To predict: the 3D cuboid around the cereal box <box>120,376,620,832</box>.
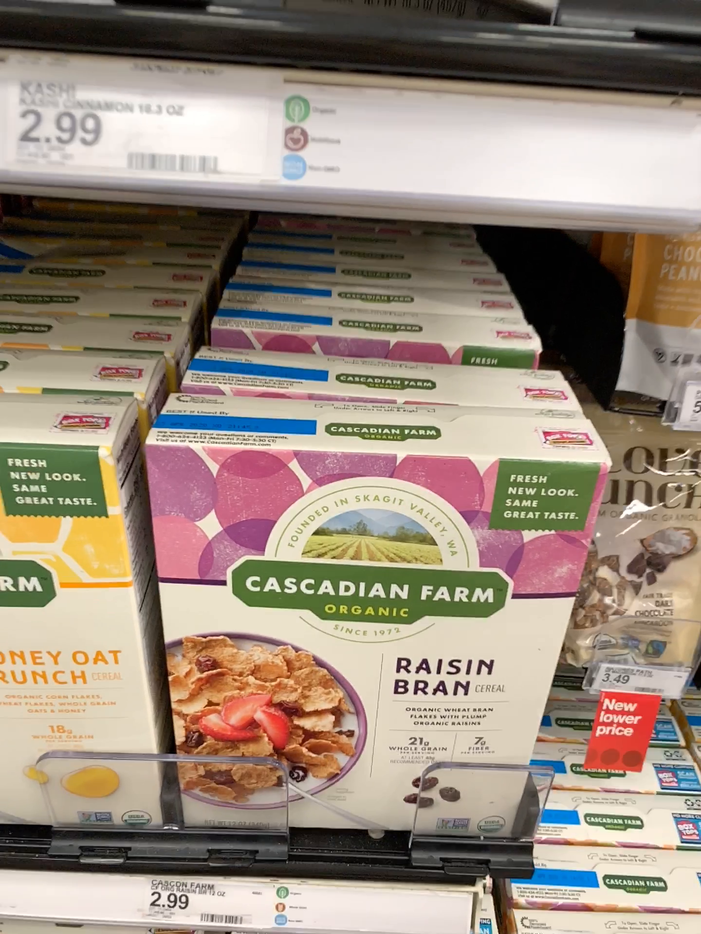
[{"bbox_3d":[0.000,0.090,0.381,0.200,0.269,0.050,3,33,-3],"label":"cereal box"}]
